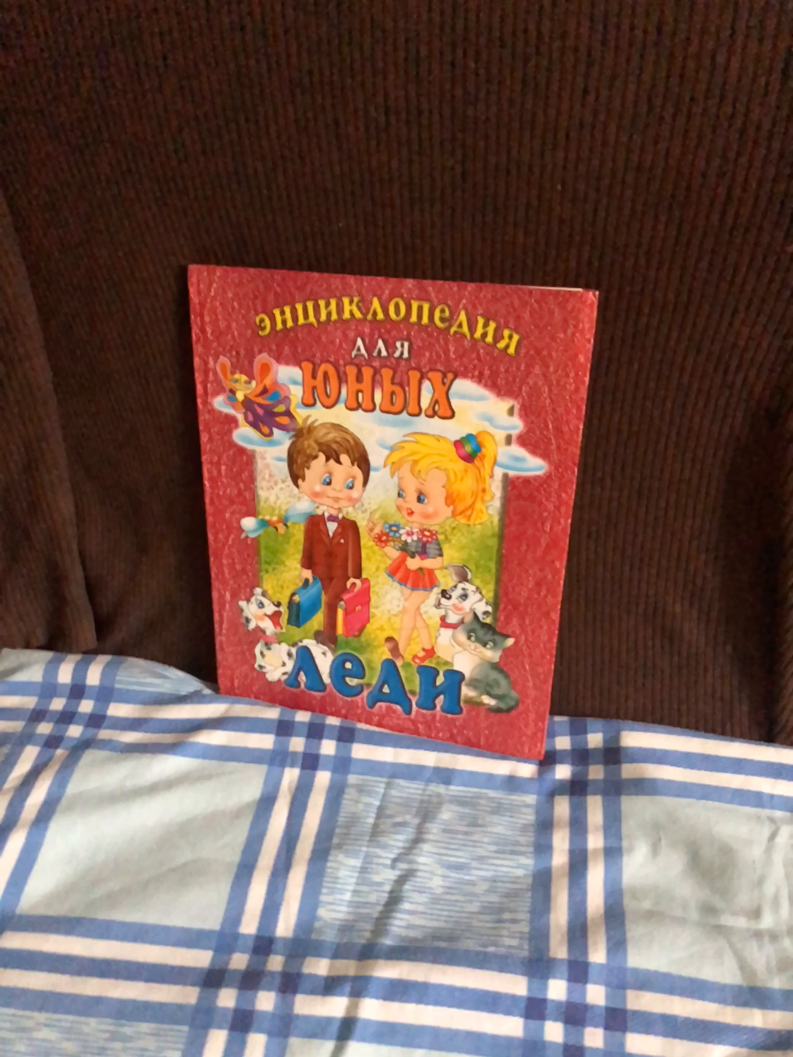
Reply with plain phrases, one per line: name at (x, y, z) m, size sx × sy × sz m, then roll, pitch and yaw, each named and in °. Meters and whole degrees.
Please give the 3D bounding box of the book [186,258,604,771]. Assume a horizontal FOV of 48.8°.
book at (-0.010, 0.000, 0.537) m, size 0.230 × 0.303 × 0.020 m, roll 7°, pitch 24°, yaw 11°
